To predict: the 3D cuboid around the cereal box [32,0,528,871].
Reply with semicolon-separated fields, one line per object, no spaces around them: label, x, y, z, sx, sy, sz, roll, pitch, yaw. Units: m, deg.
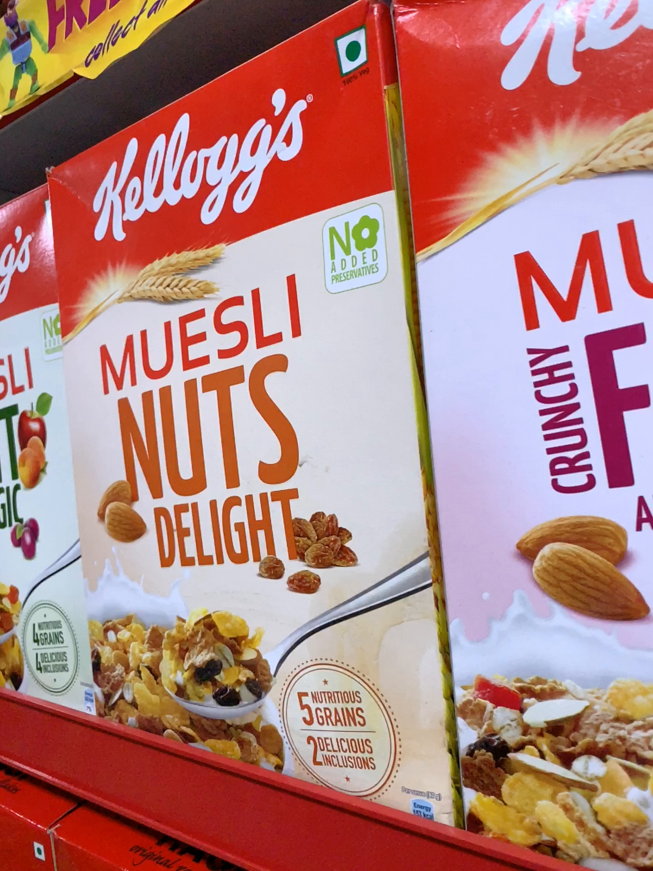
cereal box;-0.028;-0.001;0.262;0.170;0.250;0.060;-5;0;37
